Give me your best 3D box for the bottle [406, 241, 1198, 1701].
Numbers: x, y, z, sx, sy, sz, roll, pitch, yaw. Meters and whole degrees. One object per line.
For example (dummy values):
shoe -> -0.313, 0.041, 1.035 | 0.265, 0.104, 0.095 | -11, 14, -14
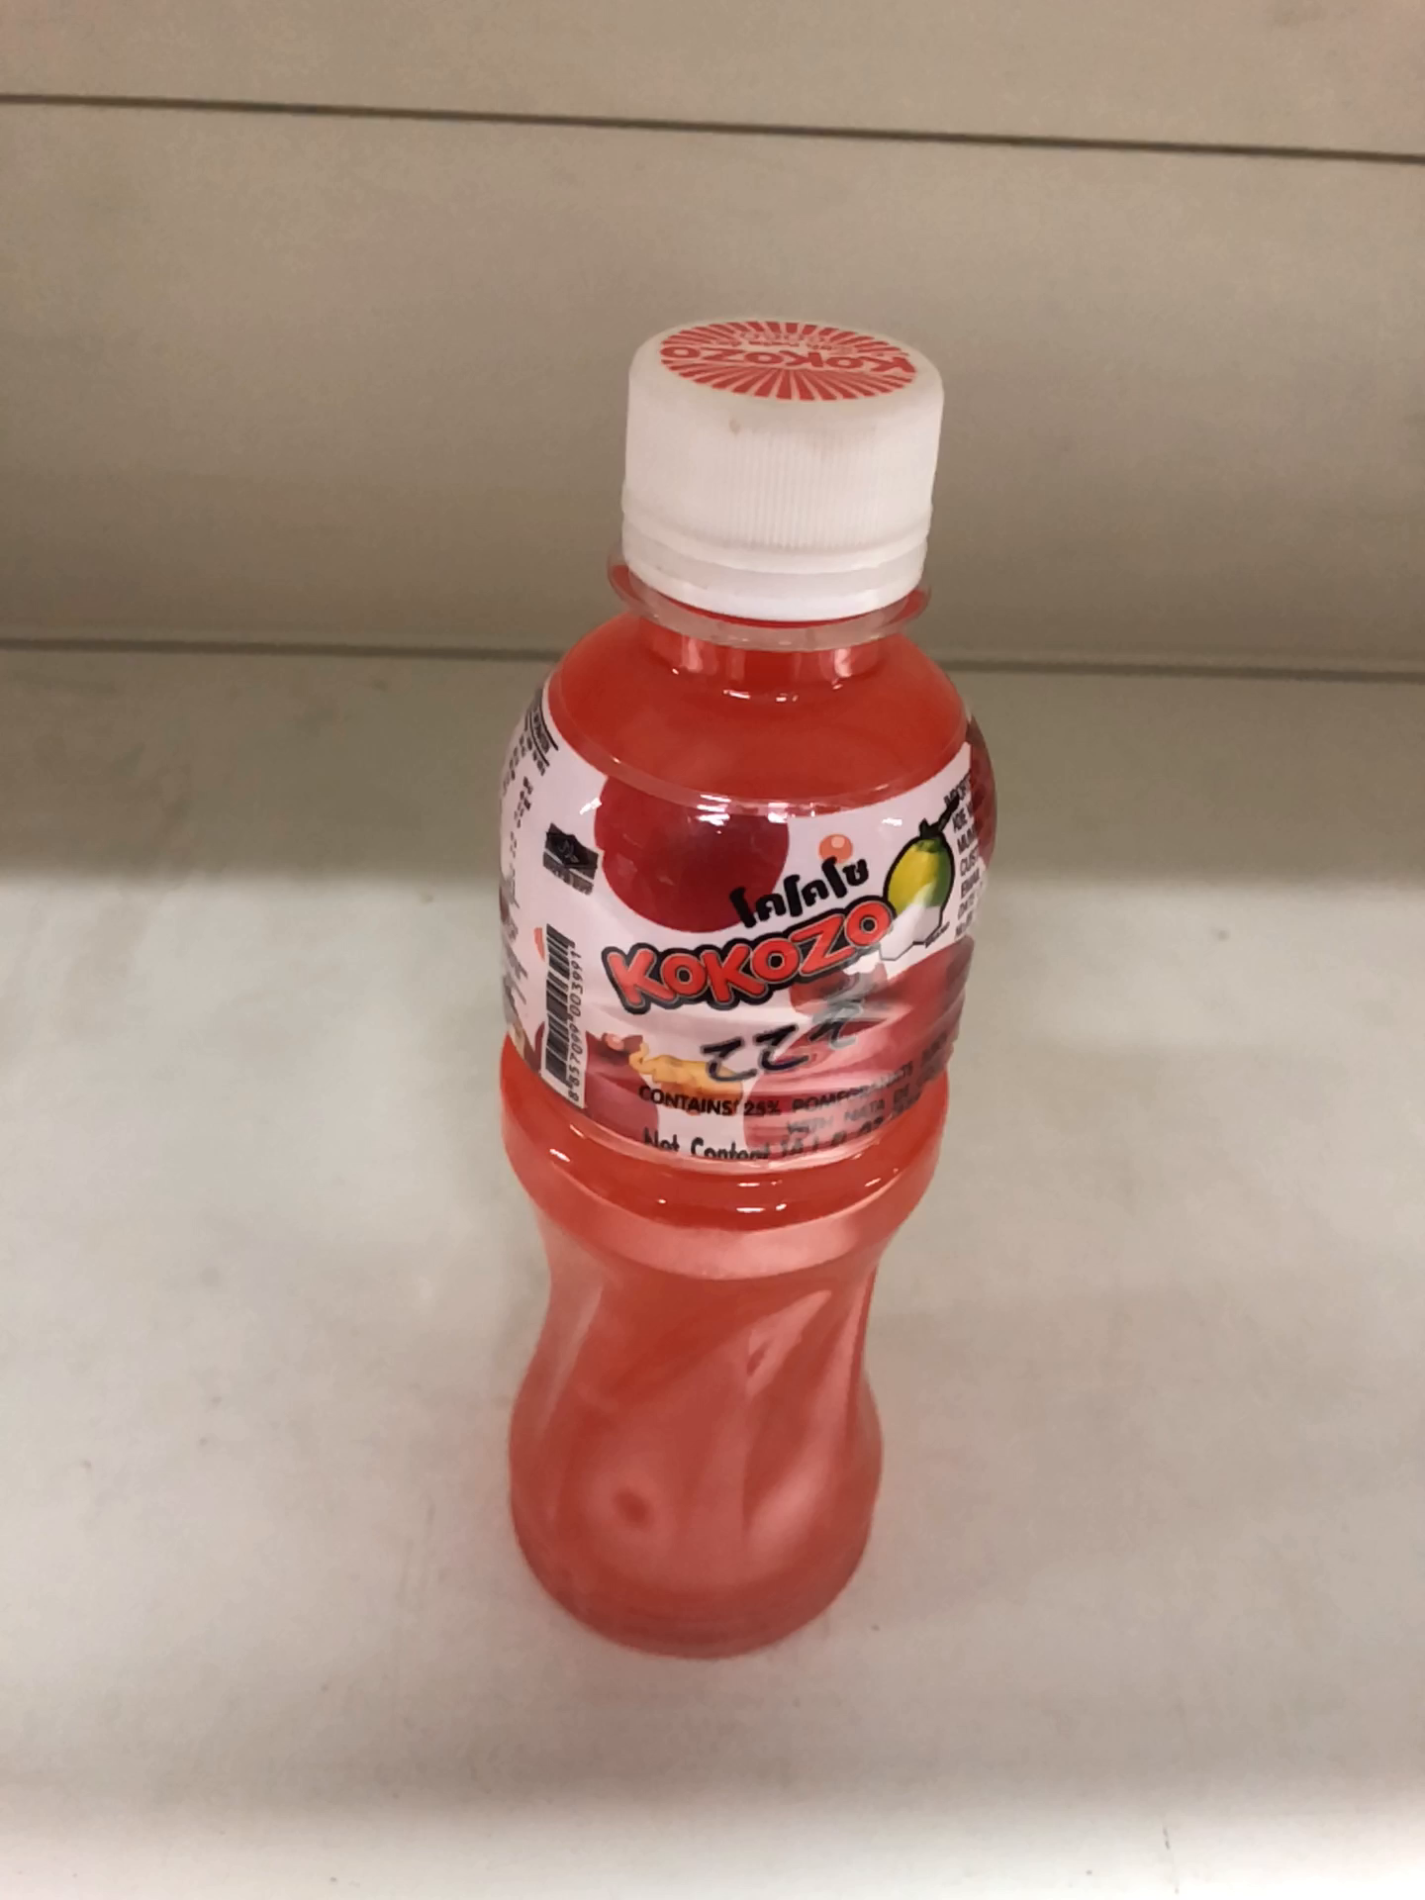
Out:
bottle -> 0.000, 0.012, 0.190 | 0.060, 0.169, 0.050 | -4, 35, -11
